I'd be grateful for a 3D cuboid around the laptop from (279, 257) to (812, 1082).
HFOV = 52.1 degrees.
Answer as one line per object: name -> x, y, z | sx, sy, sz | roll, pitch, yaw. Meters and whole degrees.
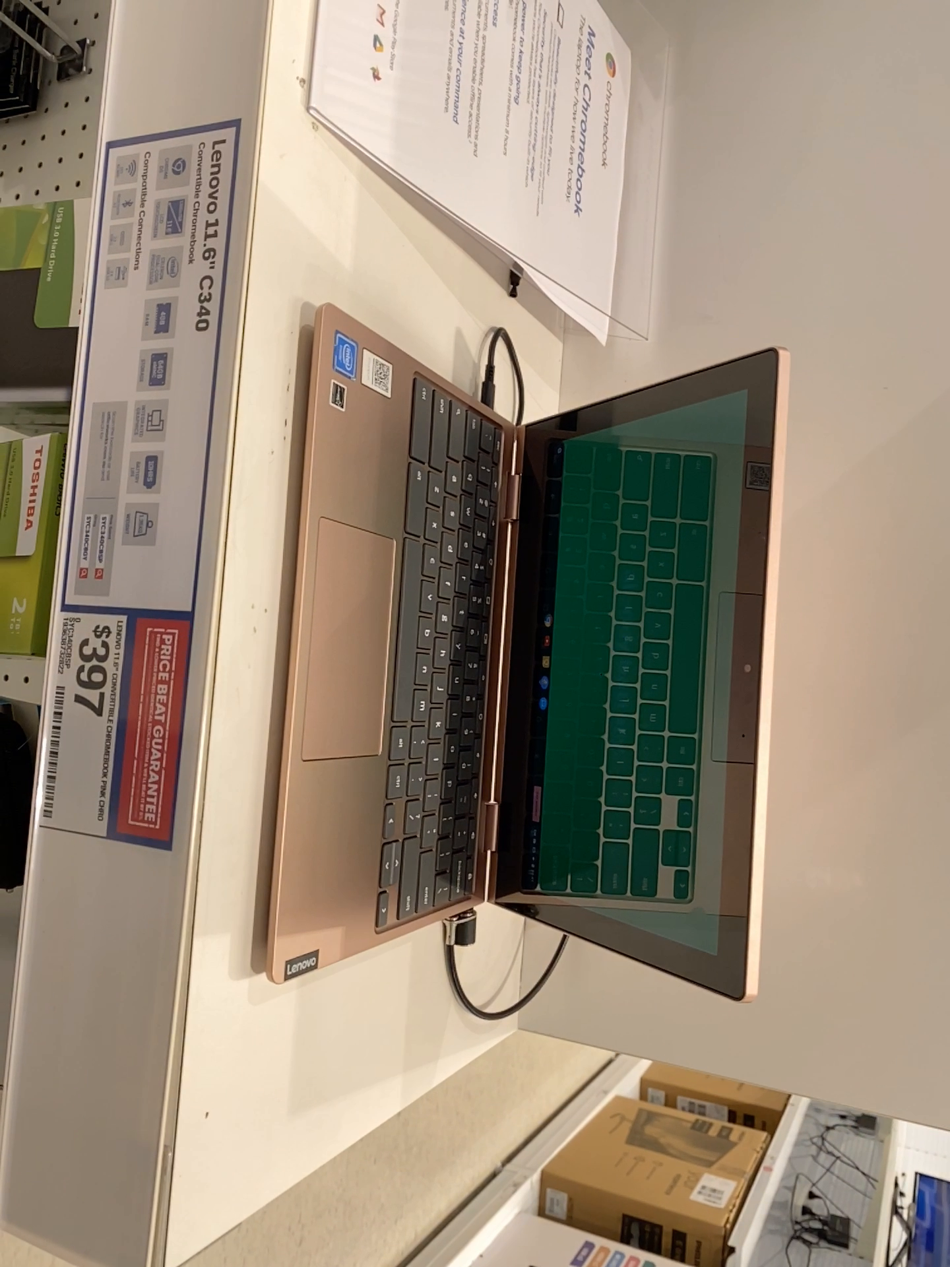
laptop -> 0.048, 0.015, 0.454 | 0.197, 0.168, 0.280 | 9, 85, -63
